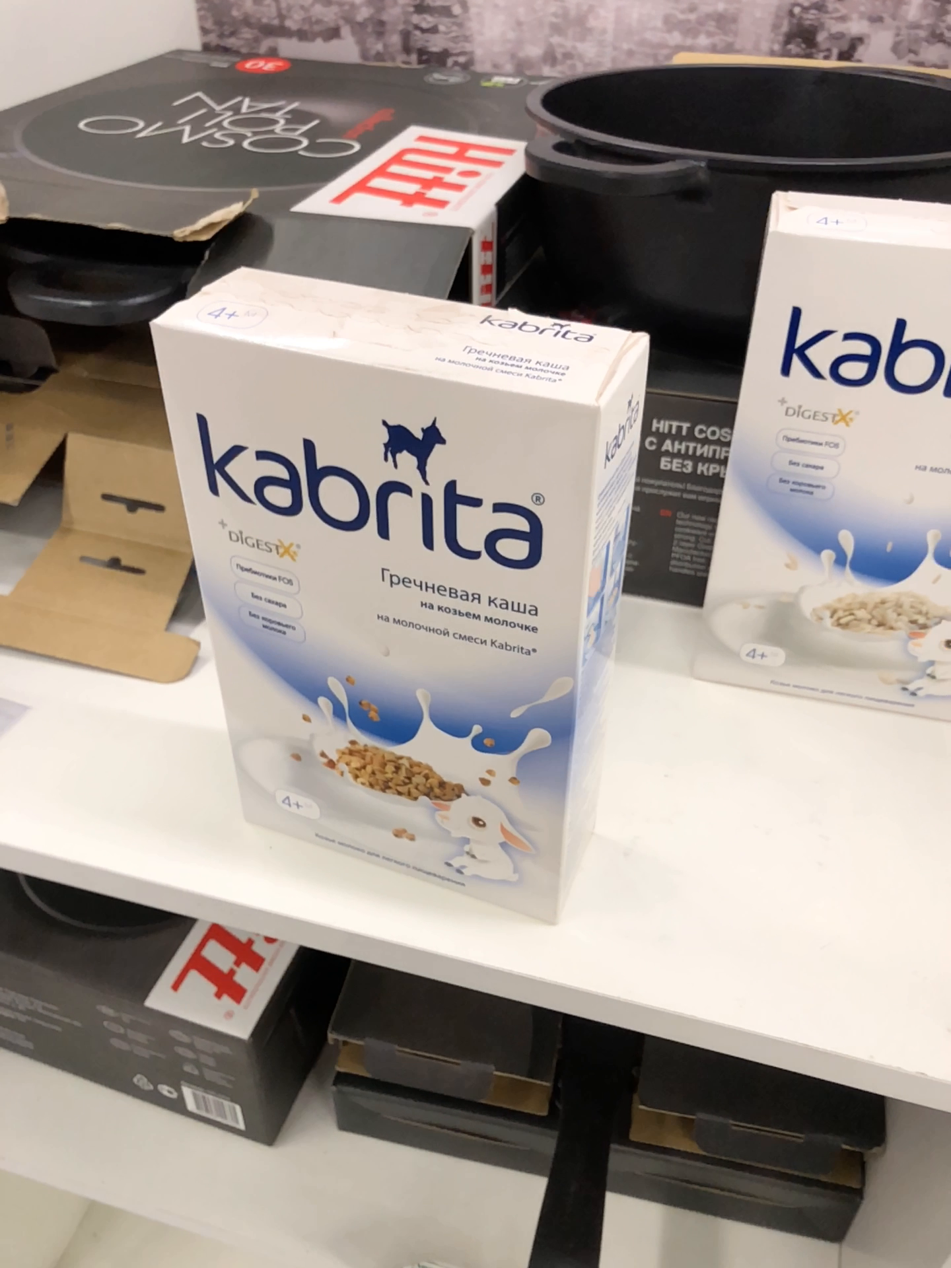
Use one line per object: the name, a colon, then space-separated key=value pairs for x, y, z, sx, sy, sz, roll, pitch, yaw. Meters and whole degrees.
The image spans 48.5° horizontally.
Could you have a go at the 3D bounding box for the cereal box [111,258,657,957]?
cereal box: x=-0.026 y=0.001 z=0.354 sx=0.140 sy=0.219 sz=0.050 roll=13 pitch=39 yaw=15
